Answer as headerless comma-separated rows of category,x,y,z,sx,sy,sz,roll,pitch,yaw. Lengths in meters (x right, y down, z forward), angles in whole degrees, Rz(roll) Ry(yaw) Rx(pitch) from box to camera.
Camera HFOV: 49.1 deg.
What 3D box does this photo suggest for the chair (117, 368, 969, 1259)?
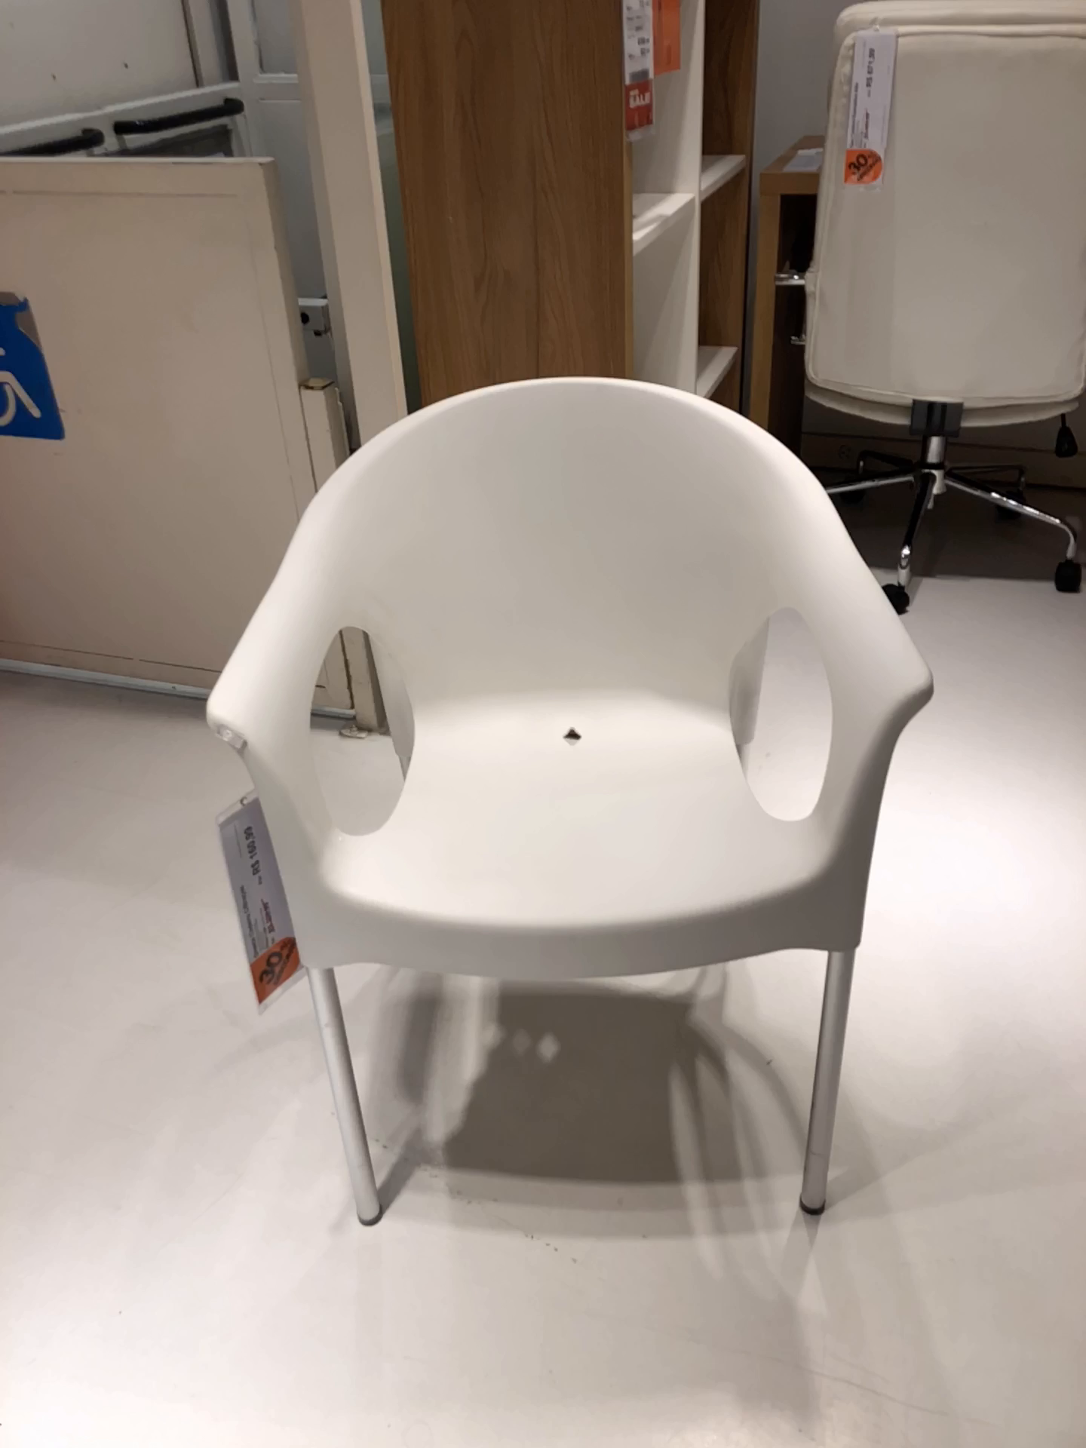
chair,0.024,0.079,1.302,0.610,0.734,0.615,-1,32,4
